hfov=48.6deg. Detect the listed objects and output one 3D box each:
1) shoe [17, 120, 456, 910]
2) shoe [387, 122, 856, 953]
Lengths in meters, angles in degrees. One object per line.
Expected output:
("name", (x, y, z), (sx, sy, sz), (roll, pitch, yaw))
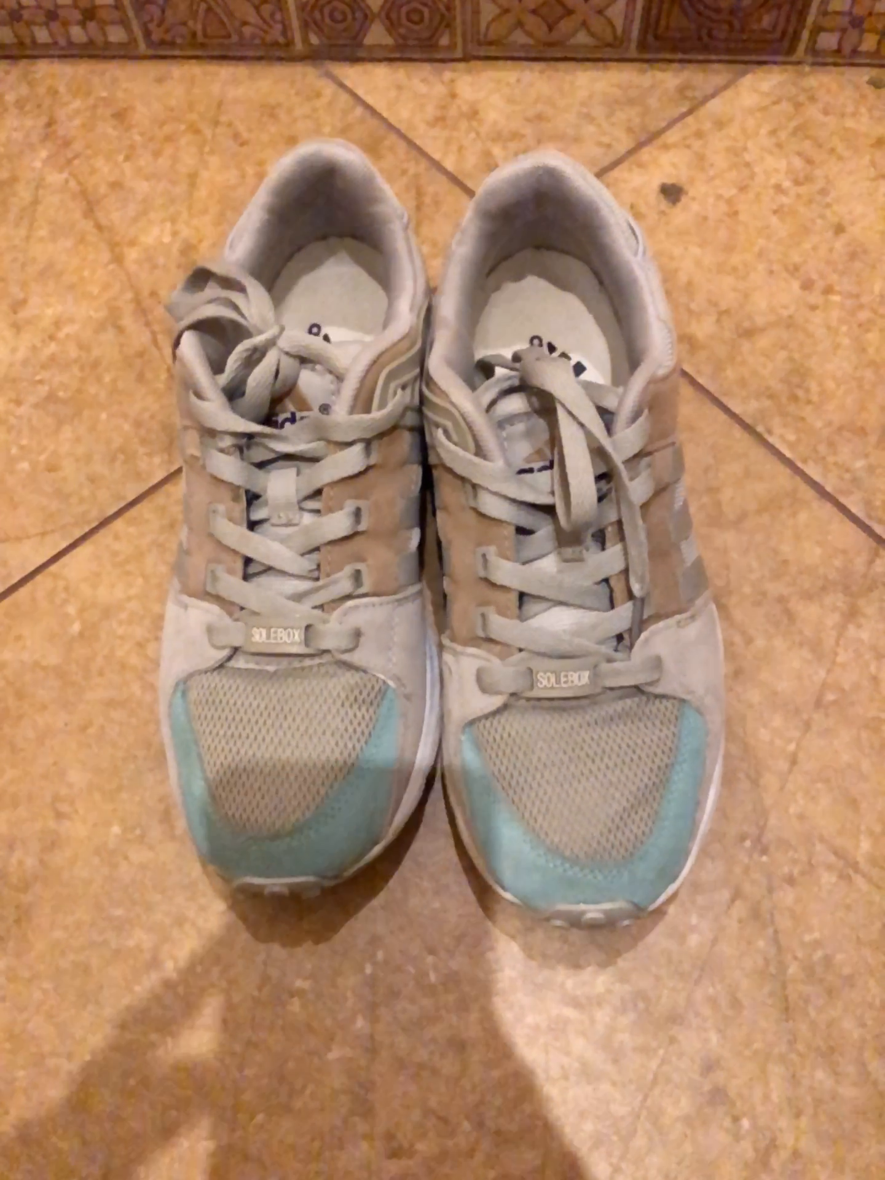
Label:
("shoe", (-0.051, -0.030, 0.336), (0.110, 0.080, 0.261), (-1, 67, 2))
("shoe", (0.042, -0.023, 0.325), (0.108, 0.080, 0.261), (-3, 67, 1))
